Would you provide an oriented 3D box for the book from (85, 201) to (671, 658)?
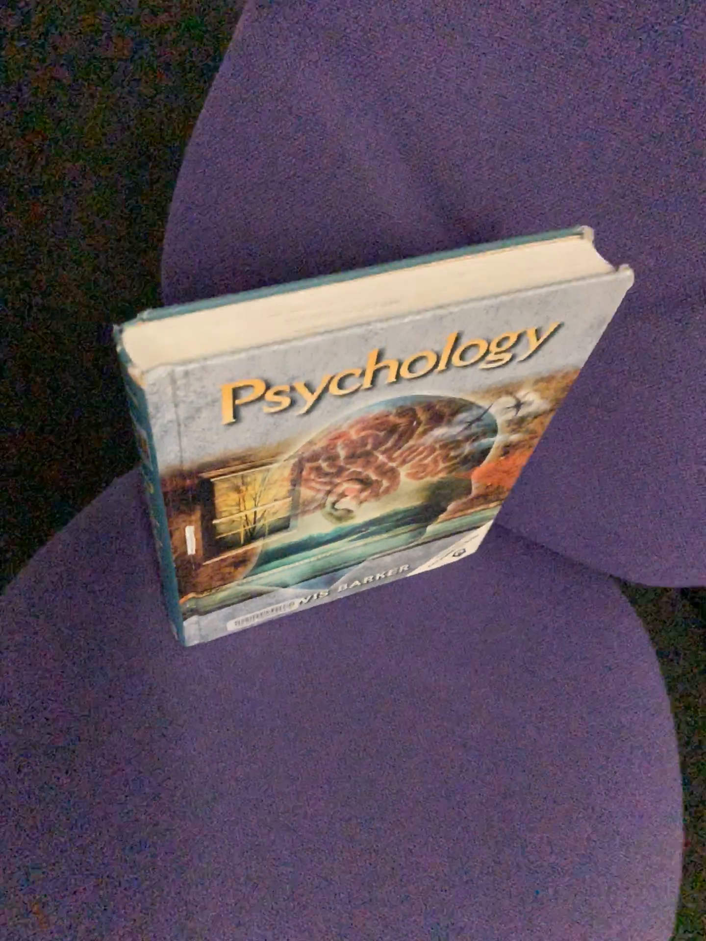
[{"bbox_3d":[0.007,0.001,0.415,0.243,0.288,0.040,-17,61,-16],"label":"book"}]
